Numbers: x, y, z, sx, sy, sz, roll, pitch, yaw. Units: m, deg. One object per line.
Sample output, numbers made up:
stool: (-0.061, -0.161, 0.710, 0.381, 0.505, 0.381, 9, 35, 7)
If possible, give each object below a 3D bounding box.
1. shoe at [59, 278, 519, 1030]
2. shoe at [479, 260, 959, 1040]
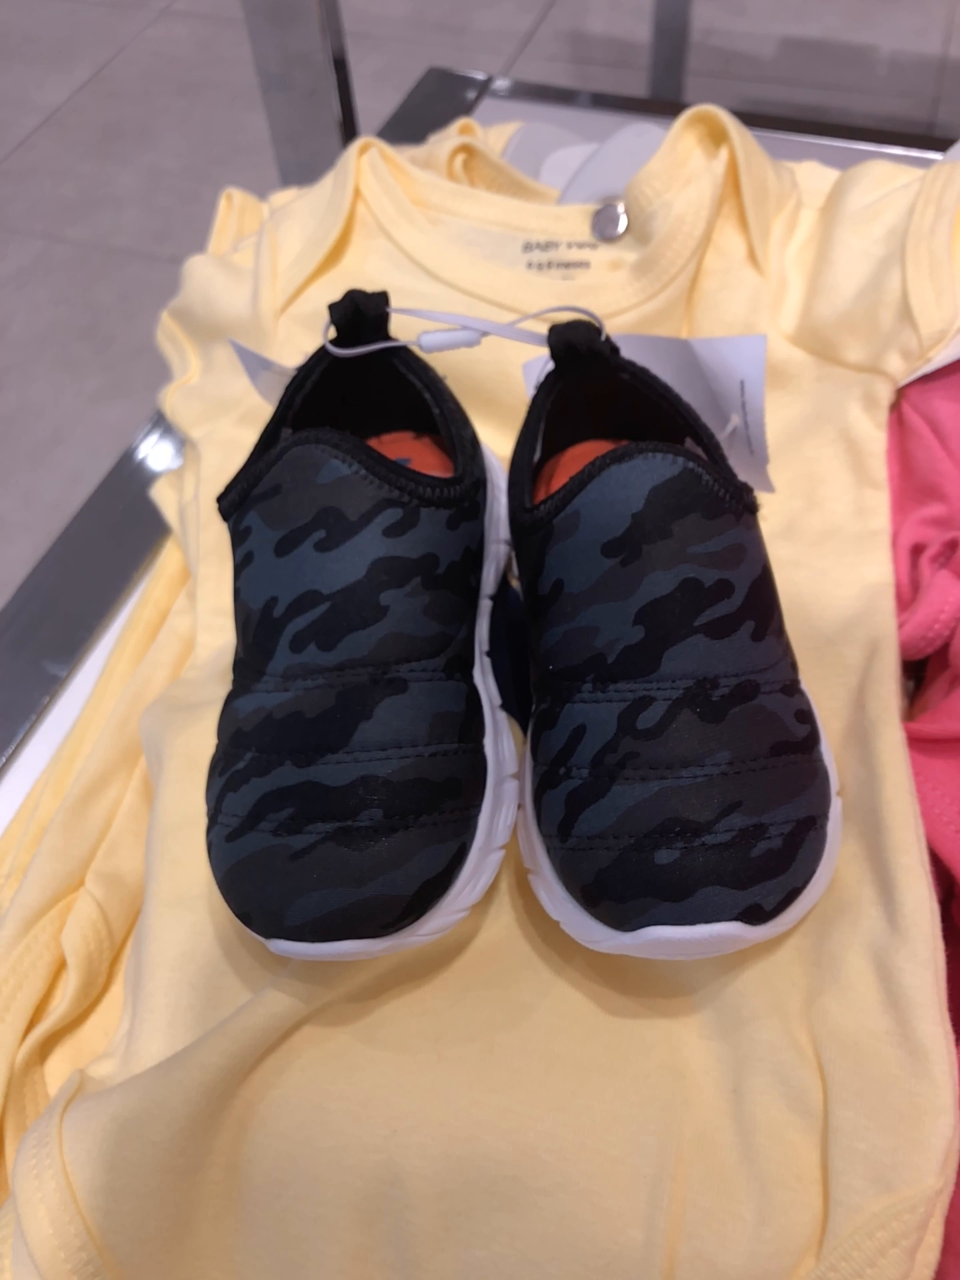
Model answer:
shoe: (-0.027, -0.001, 0.244, 0.070, 0.080, 0.151, -1, 54, 3)
shoe: (0.043, -0.004, 0.234, 0.070, 0.070, 0.151, -6, 53, -1)
